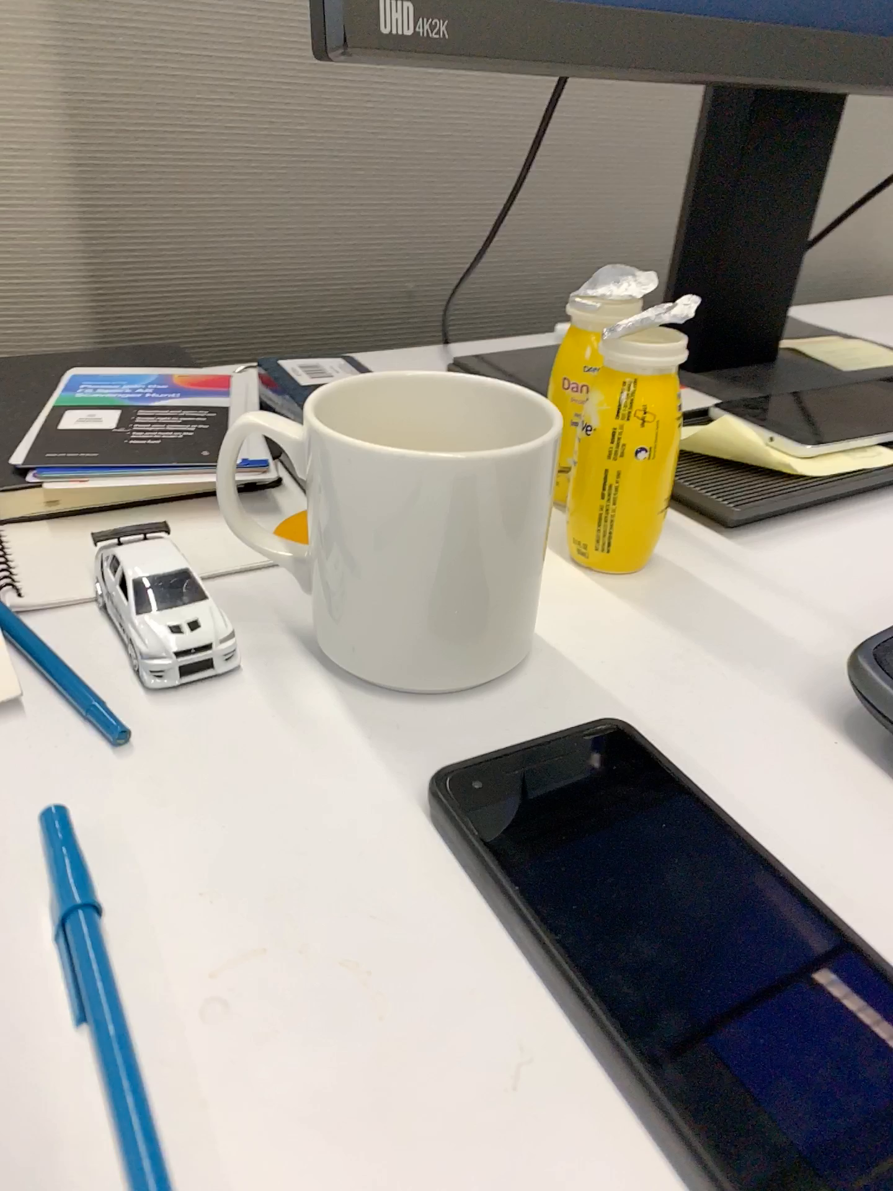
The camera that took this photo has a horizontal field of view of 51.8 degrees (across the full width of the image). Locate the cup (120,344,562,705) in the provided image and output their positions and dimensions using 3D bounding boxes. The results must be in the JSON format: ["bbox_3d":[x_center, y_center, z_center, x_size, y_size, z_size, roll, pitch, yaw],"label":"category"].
[{"bbox_3d":[-0.032,-0.029,0.308,0.120,0.080,0.070,11,29,13],"label":"cup"}]
